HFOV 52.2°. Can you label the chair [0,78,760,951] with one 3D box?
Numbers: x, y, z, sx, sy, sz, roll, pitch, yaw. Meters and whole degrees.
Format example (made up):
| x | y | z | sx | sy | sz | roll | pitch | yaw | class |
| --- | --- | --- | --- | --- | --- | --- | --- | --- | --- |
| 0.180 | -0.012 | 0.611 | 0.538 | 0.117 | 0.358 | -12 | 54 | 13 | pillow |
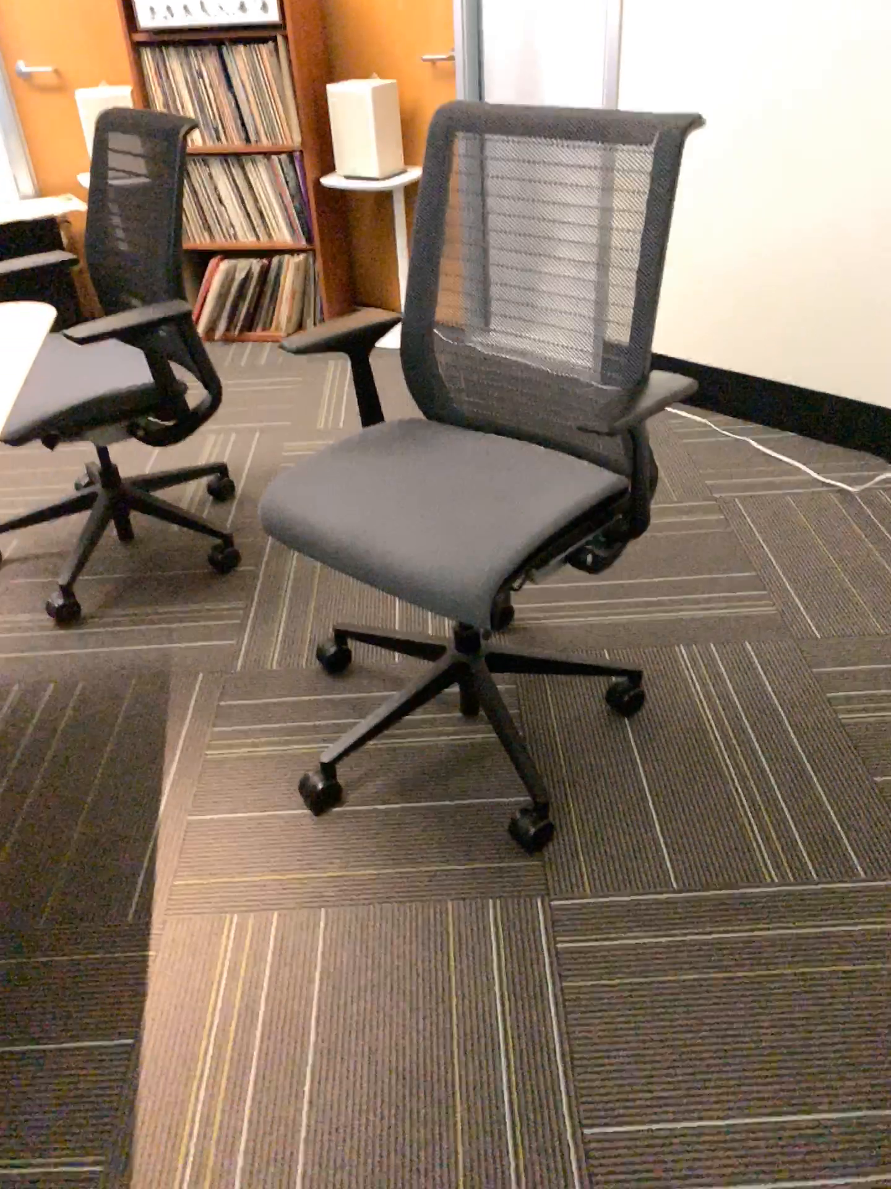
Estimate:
| x | y | z | sx | sy | sz | roll | pitch | yaw | class |
| --- | --- | --- | --- | --- | --- | --- | --- | --- | --- |
| -0.065 | -0.206 | 1.590 | 0.793 | 1.113 | 0.802 | 20 | 42 | 30 | chair |
